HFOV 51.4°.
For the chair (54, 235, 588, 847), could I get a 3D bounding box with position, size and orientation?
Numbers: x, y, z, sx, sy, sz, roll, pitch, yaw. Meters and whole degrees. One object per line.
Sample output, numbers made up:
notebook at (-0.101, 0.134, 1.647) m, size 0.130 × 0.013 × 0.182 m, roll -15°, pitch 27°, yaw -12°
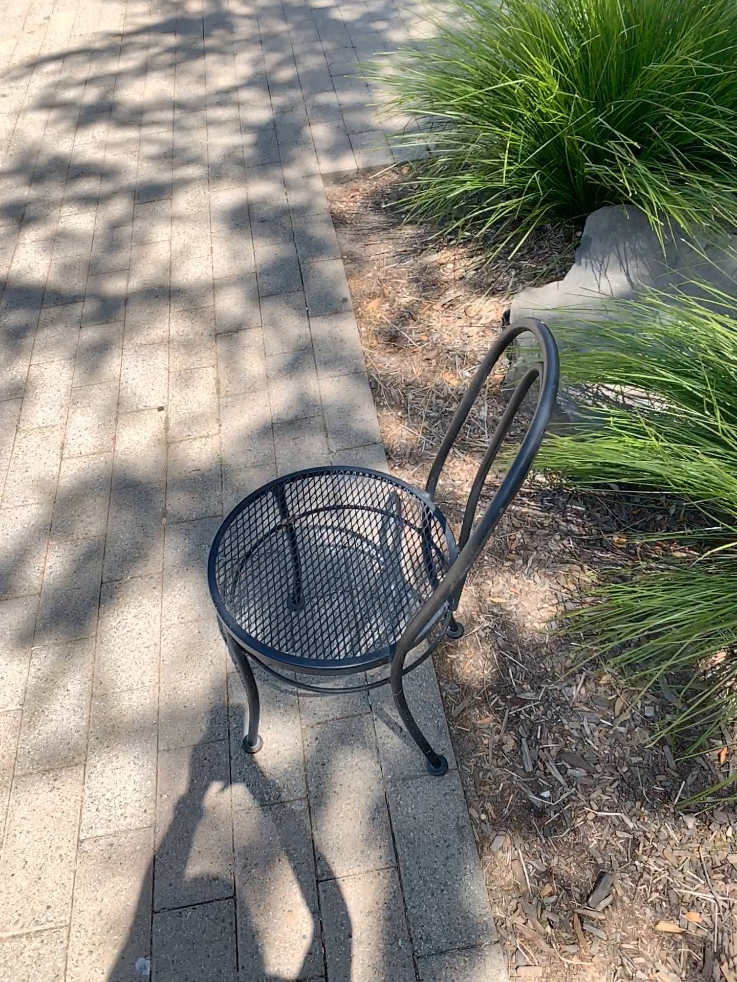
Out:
chair at (0.014, 0.158, 1.275) m, size 0.532 × 0.997 × 0.460 m, roll 7°, pitch 51°, yaw 12°
